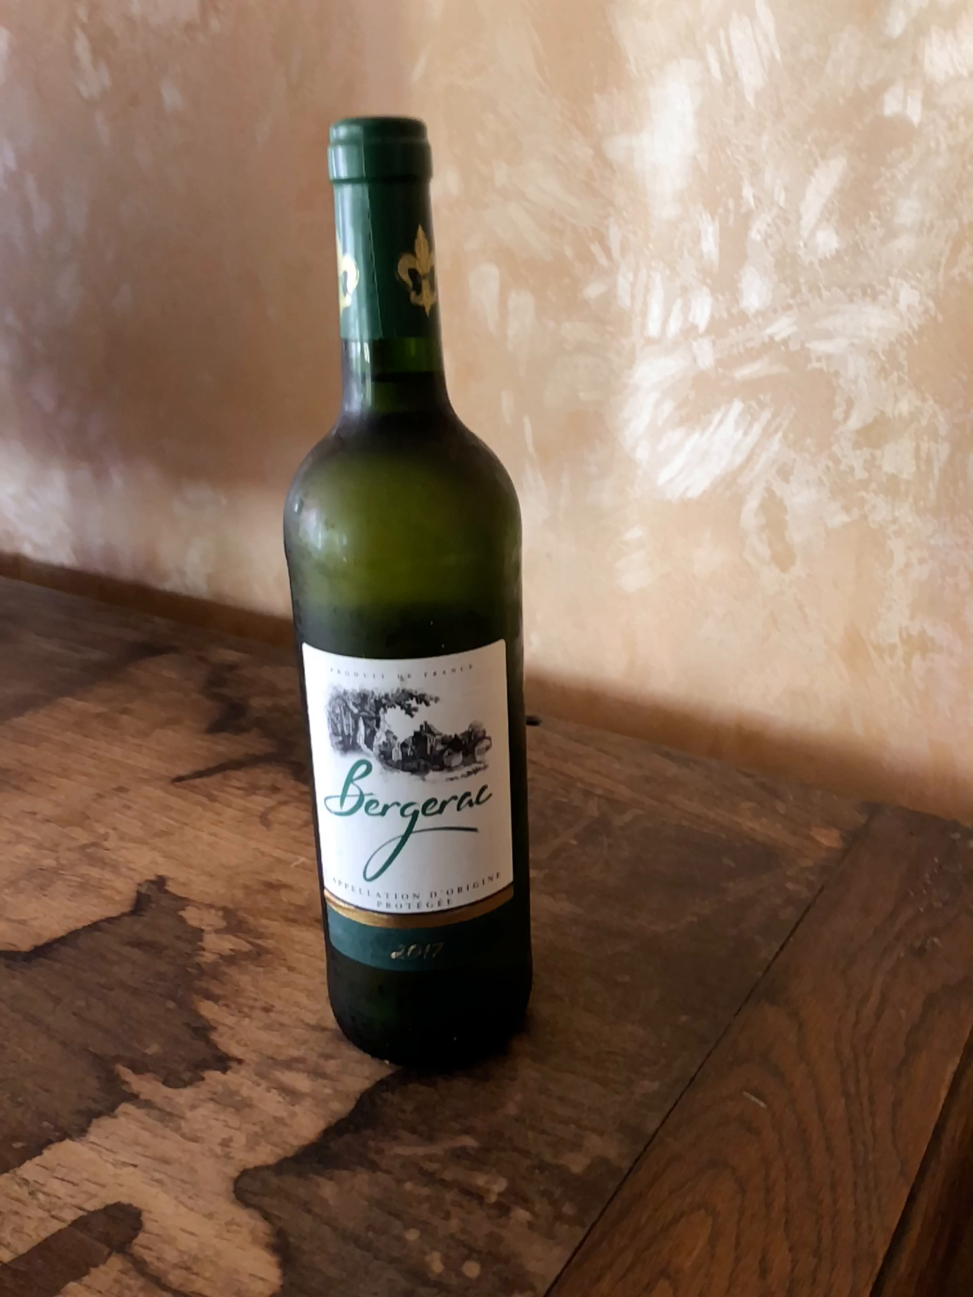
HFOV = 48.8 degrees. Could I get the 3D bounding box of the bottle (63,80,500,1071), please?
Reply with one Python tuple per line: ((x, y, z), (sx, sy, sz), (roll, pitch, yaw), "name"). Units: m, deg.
((-0.044, -0.014, 0.323), (0.090, 0.269, 0.090), (-1, 21, 0), "bottle")
